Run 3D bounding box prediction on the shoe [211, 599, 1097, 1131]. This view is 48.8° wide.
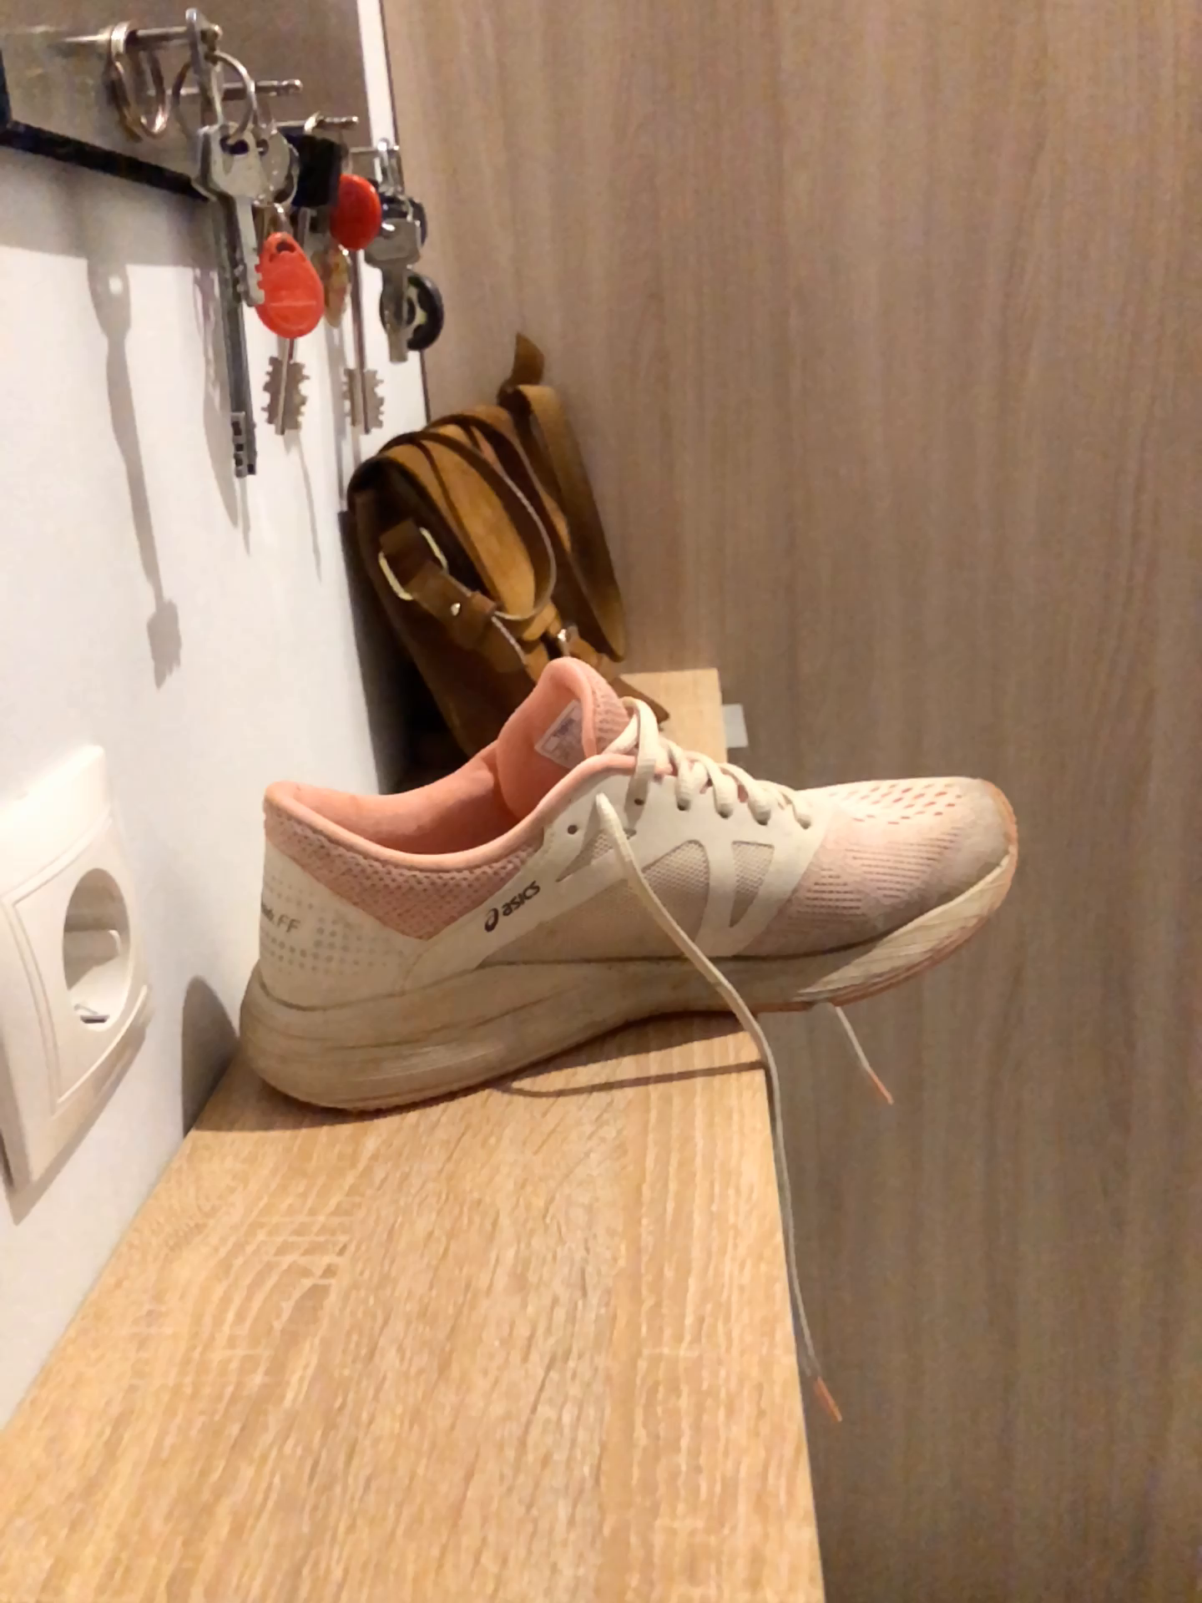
[{"bbox_3d":[0.015,0.009,0.449,0.268,0.104,0.110,-9,19,-13],"label":"shoe"}]
